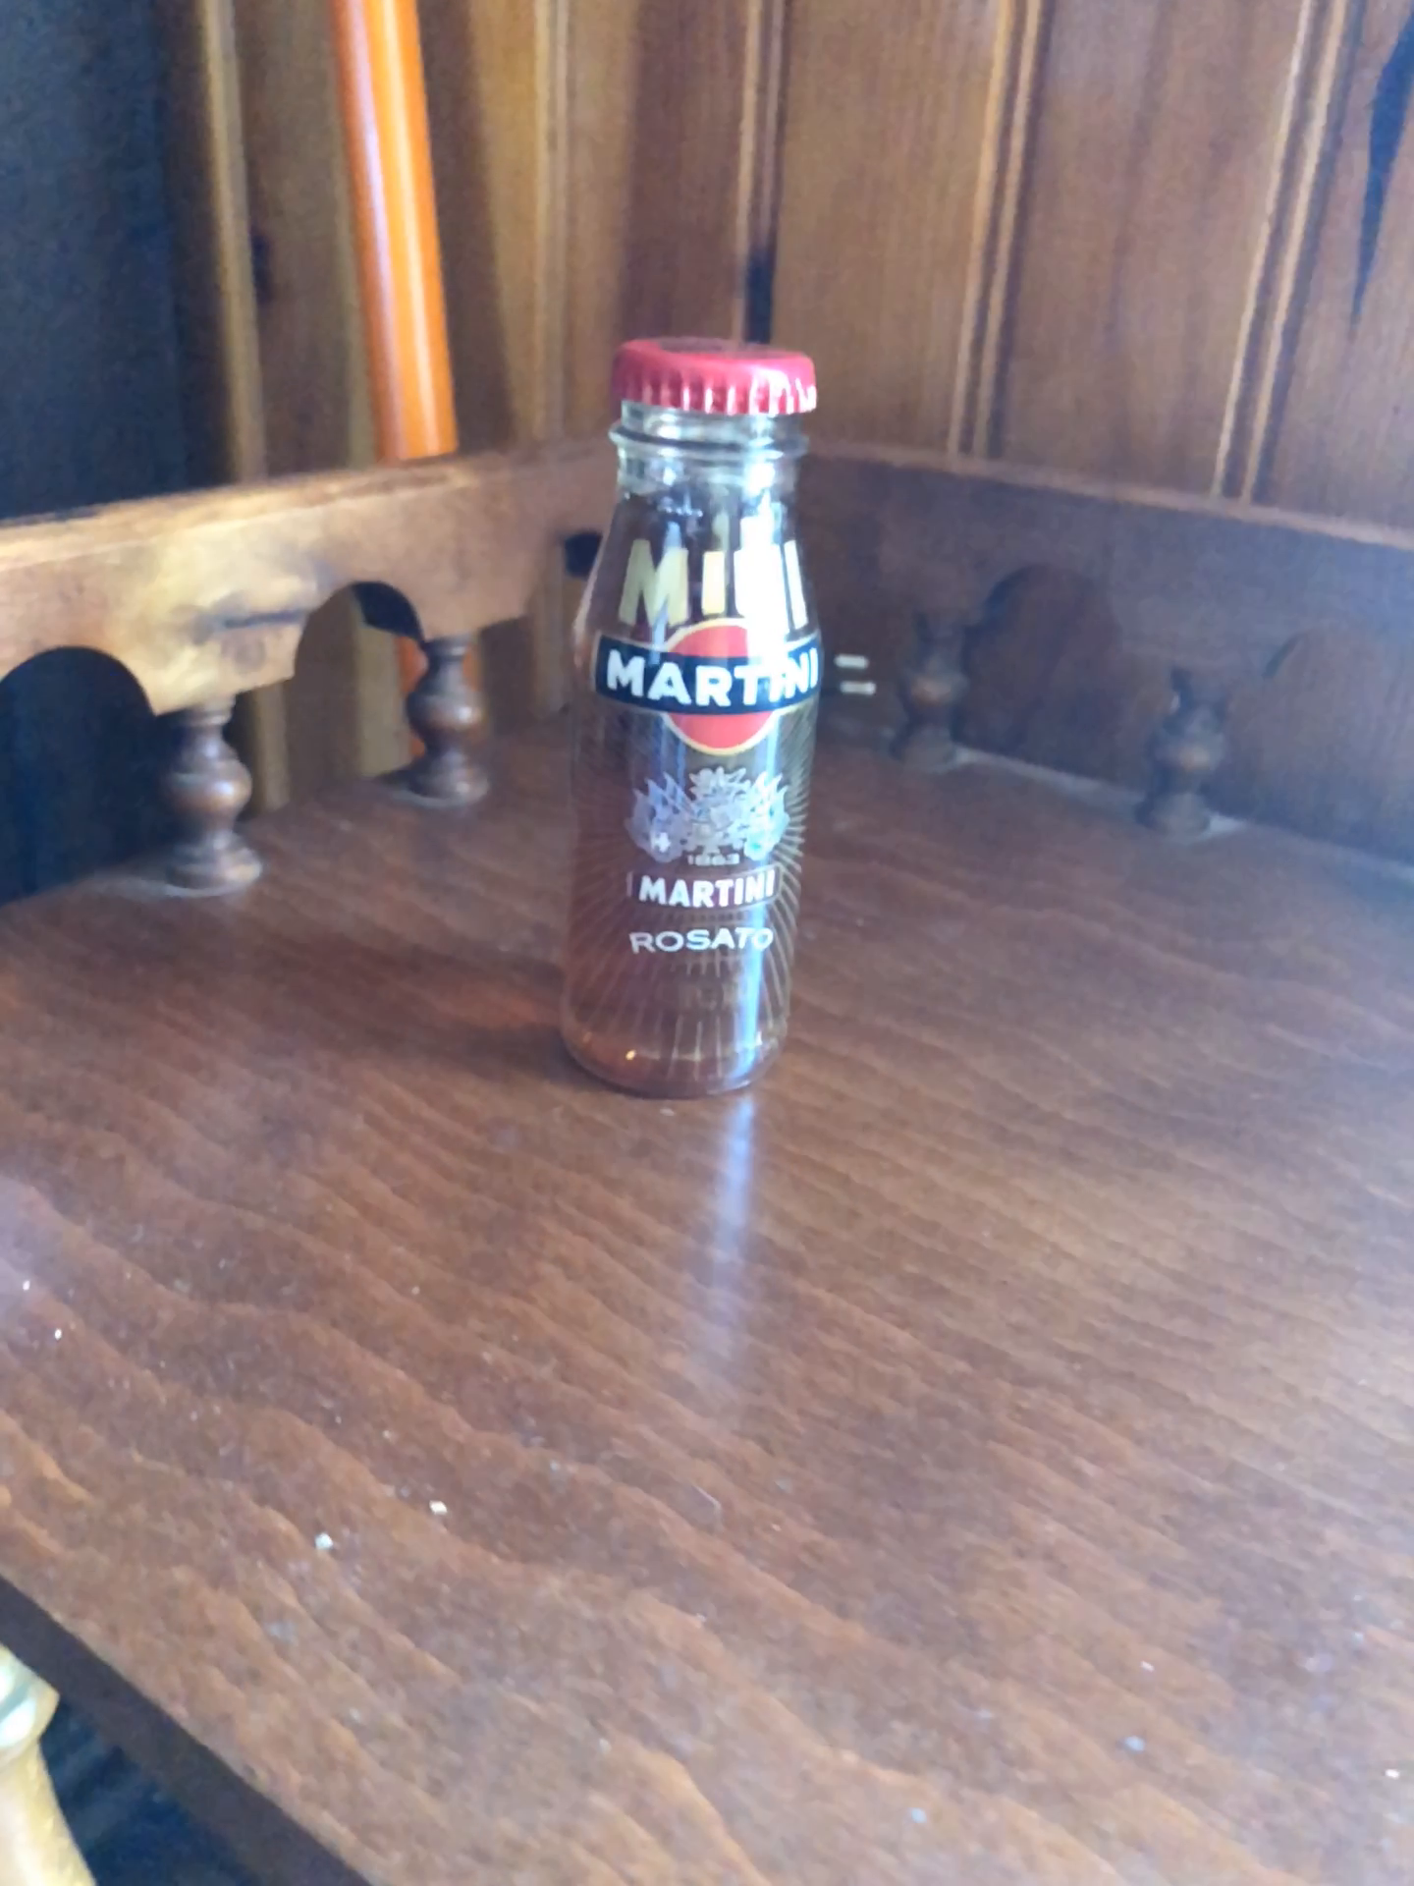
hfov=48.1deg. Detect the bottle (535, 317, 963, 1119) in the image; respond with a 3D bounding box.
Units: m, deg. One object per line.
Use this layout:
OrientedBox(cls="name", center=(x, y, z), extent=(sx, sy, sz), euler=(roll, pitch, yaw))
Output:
OrientedBox(cls="bottle", center=(0.001, -0.034, 0.245), extent=(0.050, 0.109, 0.050), euler=(3, 27, -1))
